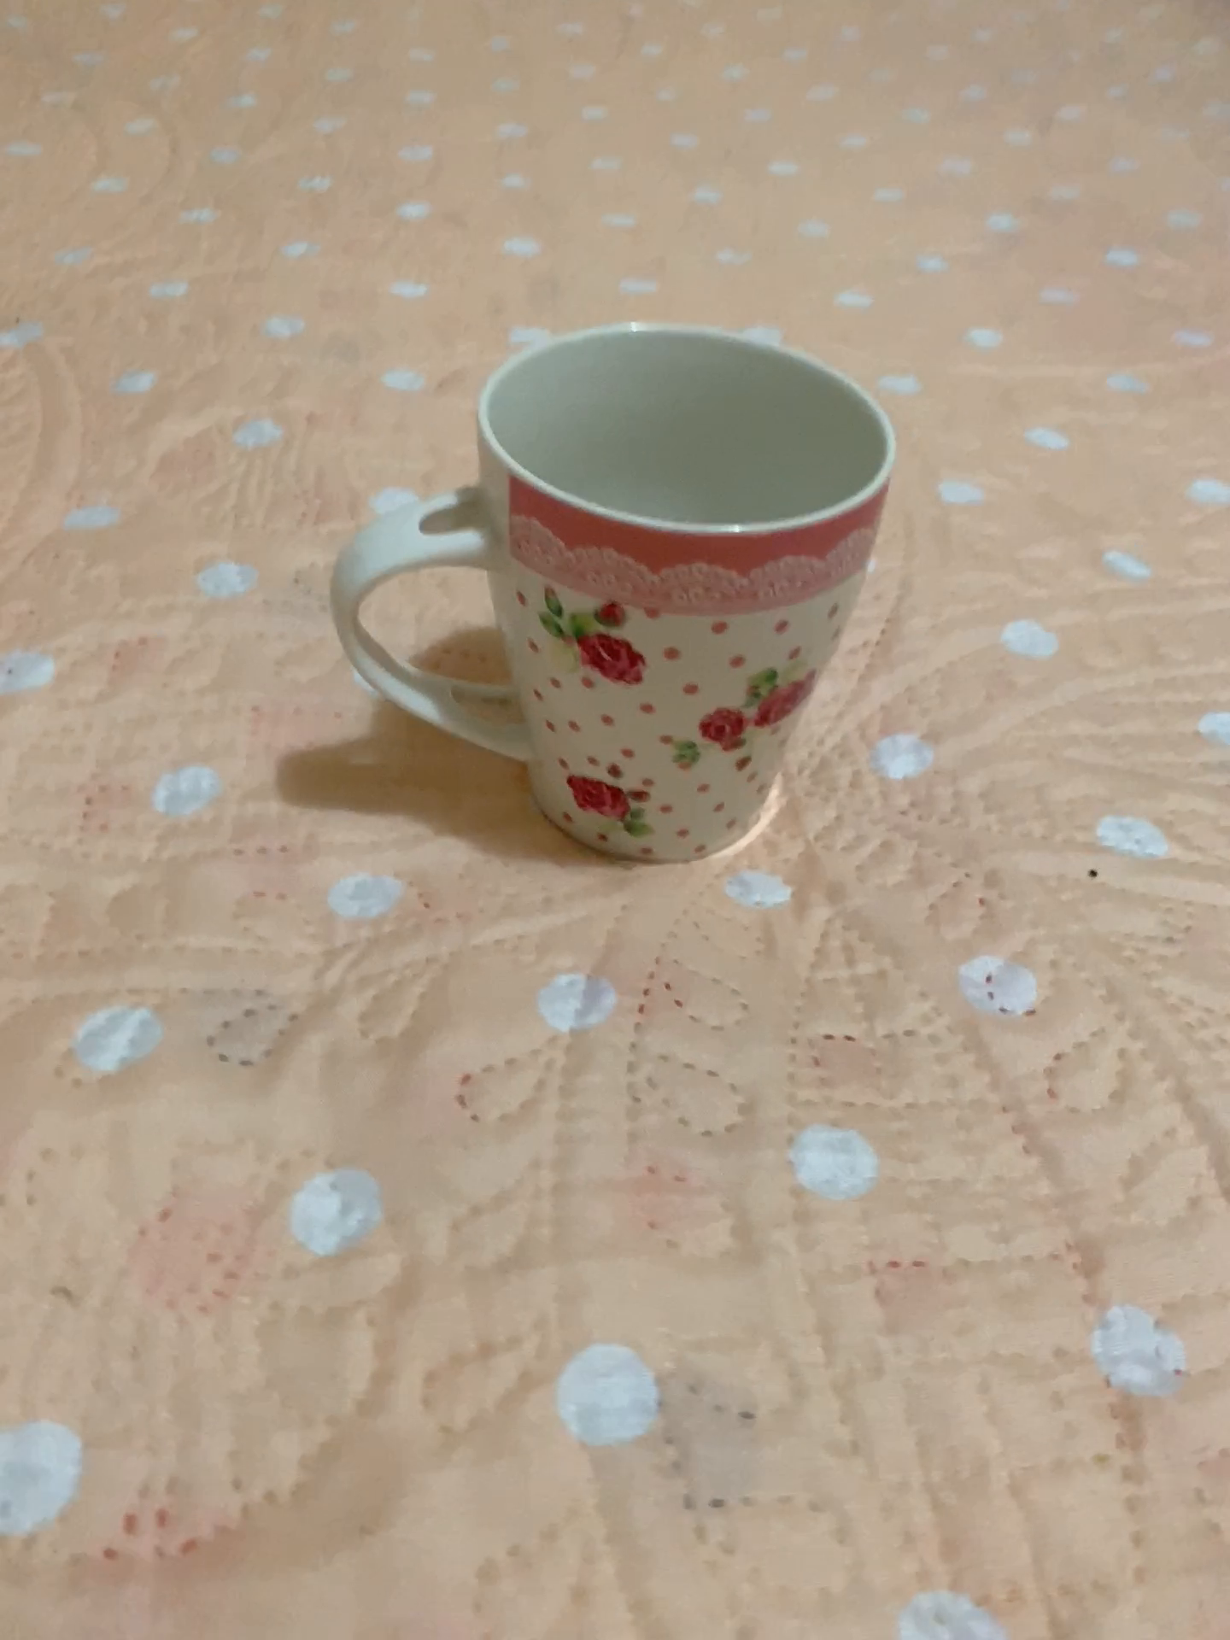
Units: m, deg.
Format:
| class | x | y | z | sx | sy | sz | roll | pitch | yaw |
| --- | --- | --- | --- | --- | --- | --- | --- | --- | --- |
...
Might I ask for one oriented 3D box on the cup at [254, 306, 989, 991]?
| class | x | y | z | sx | sy | sz | roll | pitch | yaw |
| --- | --- | --- | --- | --- | --- | --- | --- | --- | --- |
| cup | -0.006 | -0.041 | 0.281 | 0.120 | 0.099 | 0.090 | -11 | 46 | -16 |
